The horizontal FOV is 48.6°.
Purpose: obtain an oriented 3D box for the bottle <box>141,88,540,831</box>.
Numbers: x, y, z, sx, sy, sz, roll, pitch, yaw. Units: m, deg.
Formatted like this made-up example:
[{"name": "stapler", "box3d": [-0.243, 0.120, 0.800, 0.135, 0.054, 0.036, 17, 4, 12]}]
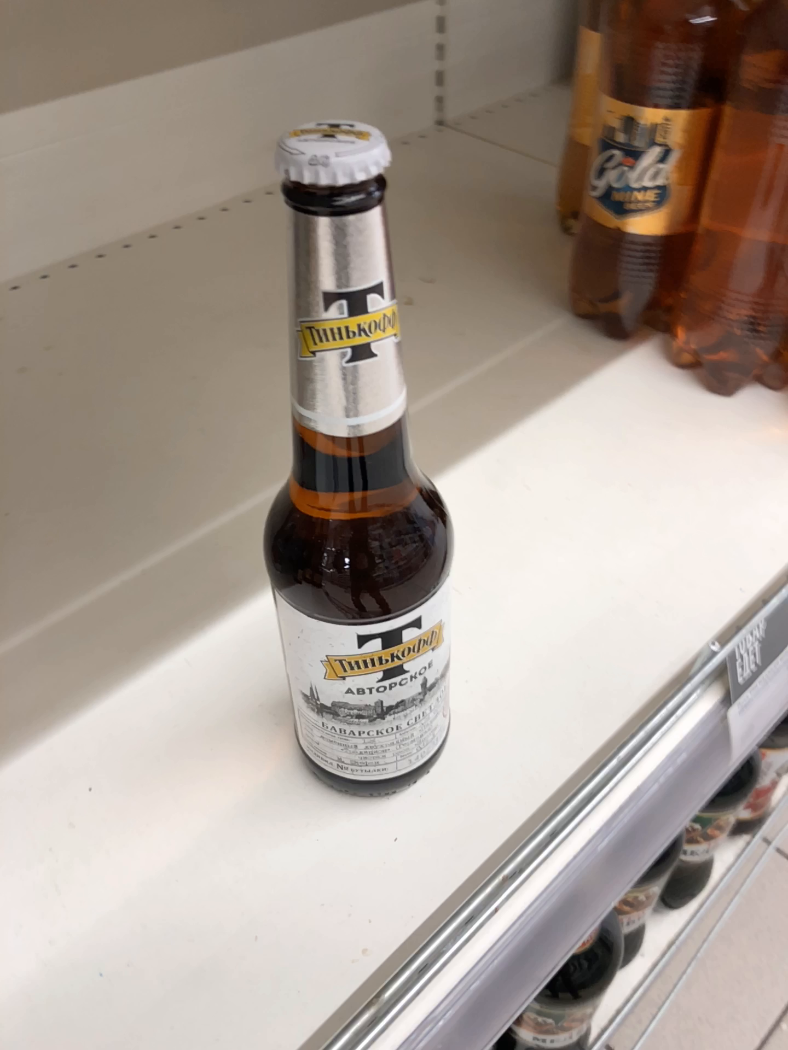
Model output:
[{"name": "bottle", "box3d": [-0.014, 0.000, 0.297, 0.080, 0.249, 0.070, -15, 45, -14]}]
